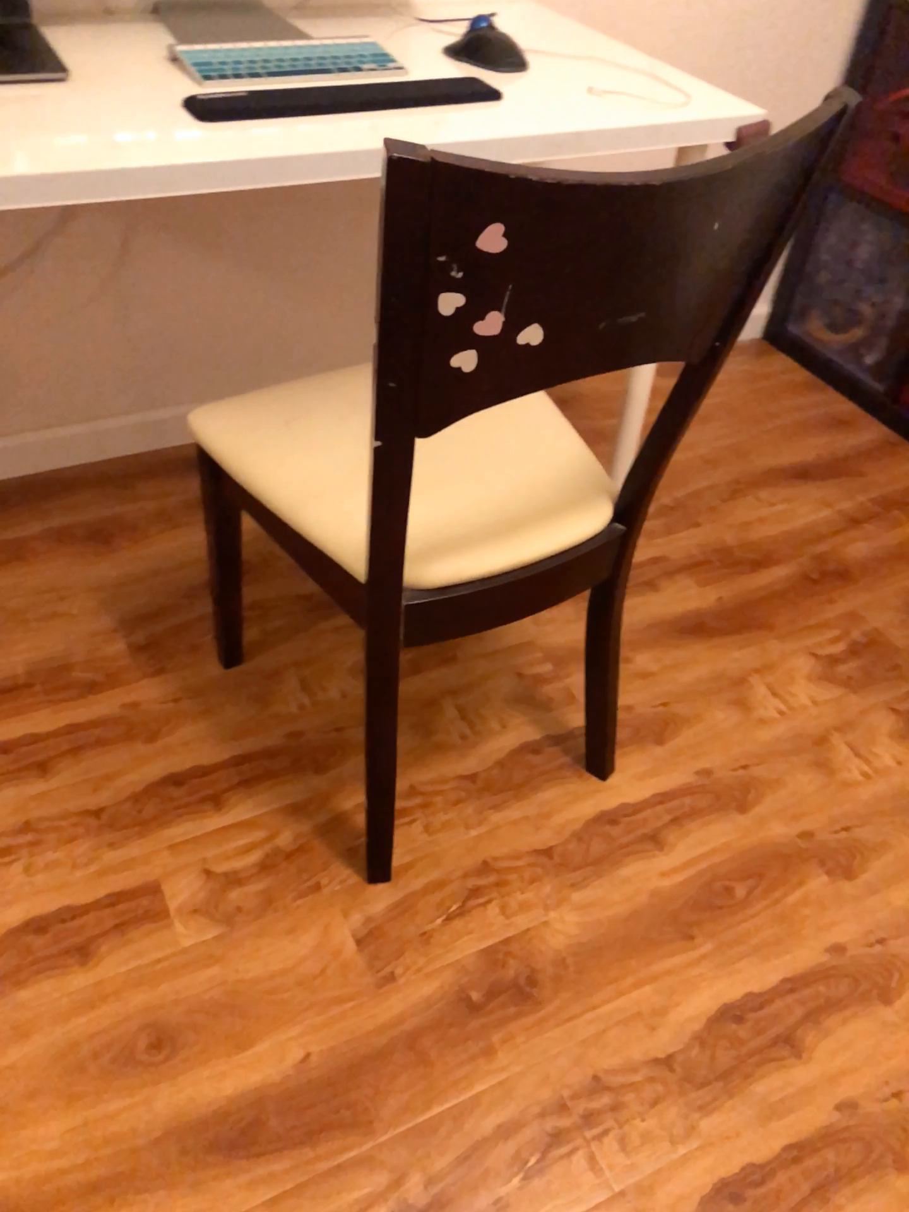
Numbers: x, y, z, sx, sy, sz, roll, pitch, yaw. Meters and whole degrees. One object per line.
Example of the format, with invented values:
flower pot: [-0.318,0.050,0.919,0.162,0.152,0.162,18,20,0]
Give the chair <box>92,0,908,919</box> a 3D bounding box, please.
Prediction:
chair: [0.003,-0.187,1.125,0.531,0.845,0.512,-20,50,-27]
